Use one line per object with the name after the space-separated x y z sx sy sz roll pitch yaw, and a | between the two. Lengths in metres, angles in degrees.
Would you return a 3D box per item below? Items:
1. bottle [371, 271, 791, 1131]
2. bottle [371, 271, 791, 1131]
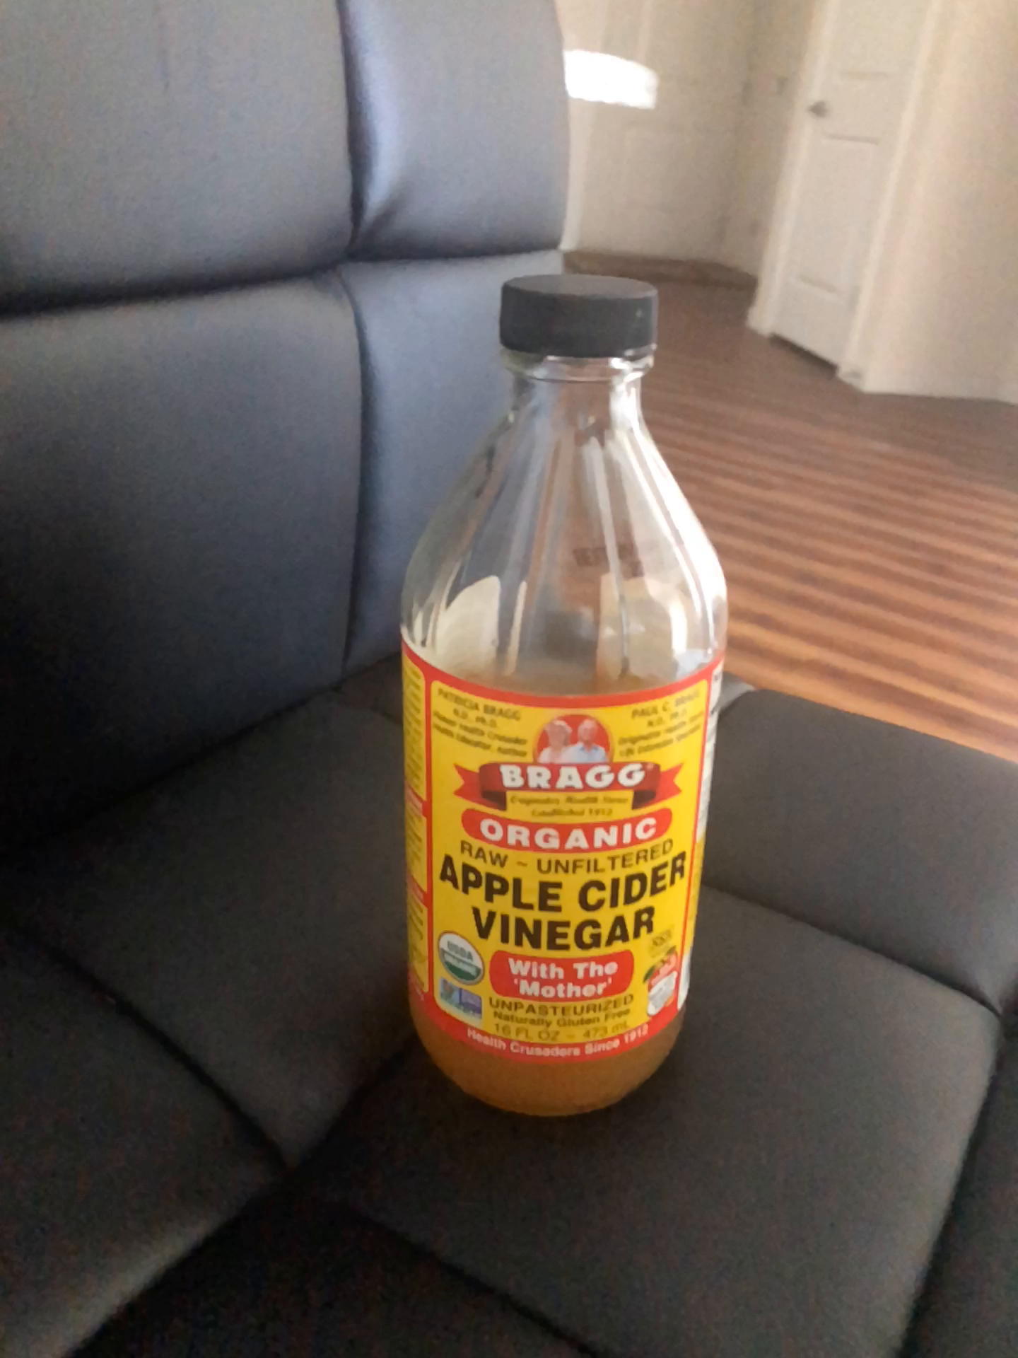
0.011 0.006 0.256 0.070 0.179 0.070 1 24 0 | bottle
0.011 0.006 0.256 0.070 0.179 0.070 1 24 0 | bottle
